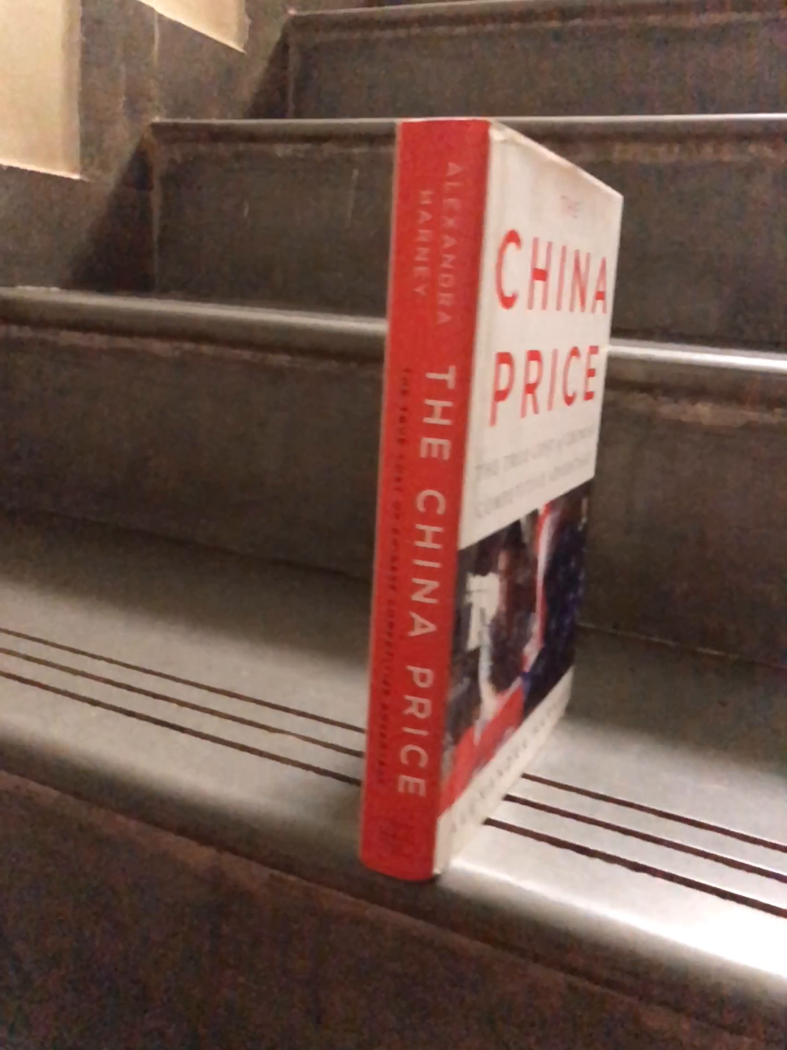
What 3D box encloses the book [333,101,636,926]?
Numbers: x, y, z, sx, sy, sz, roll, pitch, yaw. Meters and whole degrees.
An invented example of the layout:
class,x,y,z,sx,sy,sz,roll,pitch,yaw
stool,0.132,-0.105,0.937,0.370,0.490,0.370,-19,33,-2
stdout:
class,x,y,z,sx,sy,sz,roll,pitch,yaw
book,0.042,-0.012,0.335,0.040,0.239,0.181,9,16,24
